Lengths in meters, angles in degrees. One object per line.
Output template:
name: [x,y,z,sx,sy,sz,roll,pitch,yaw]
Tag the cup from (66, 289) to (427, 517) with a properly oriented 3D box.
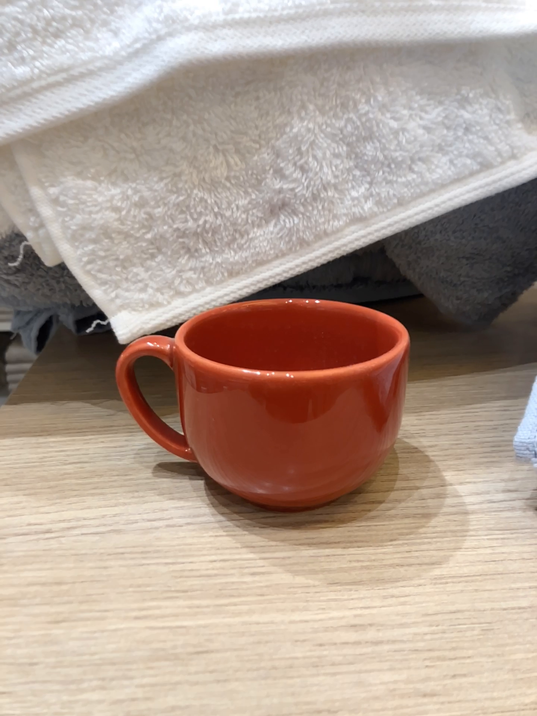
cup: [-0.005,0.011,0.211,0.100,0.050,0.081,0,21,1]
